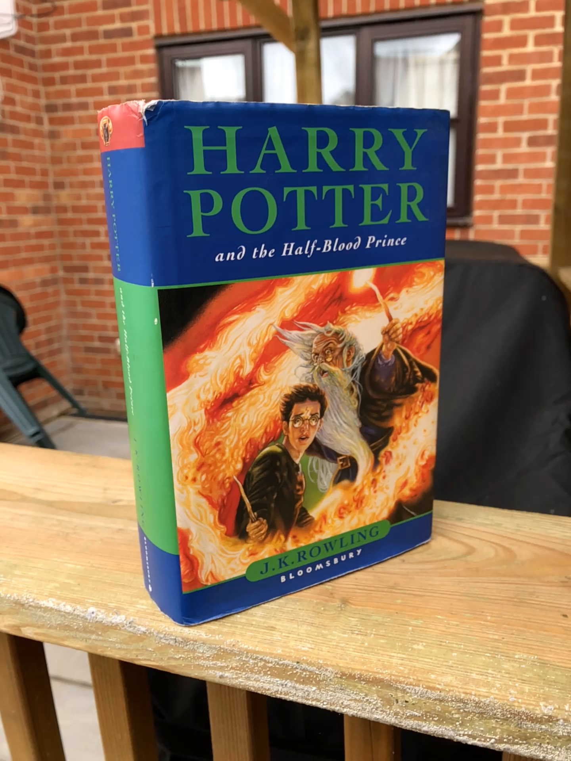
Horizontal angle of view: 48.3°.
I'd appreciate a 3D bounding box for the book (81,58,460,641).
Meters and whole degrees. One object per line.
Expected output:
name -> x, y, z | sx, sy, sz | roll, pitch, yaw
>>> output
book -> -0.003, -0.016, 0.282 | 0.140, 0.209, 0.060 | -9, 17, -28
